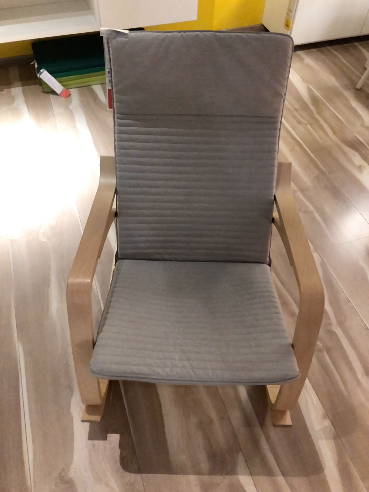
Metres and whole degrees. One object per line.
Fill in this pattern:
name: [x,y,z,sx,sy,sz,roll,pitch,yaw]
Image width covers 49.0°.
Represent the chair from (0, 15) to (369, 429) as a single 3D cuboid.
chair: [0.034,0.015,1.145,0.750,0.945,0.704,1,52,-1]
